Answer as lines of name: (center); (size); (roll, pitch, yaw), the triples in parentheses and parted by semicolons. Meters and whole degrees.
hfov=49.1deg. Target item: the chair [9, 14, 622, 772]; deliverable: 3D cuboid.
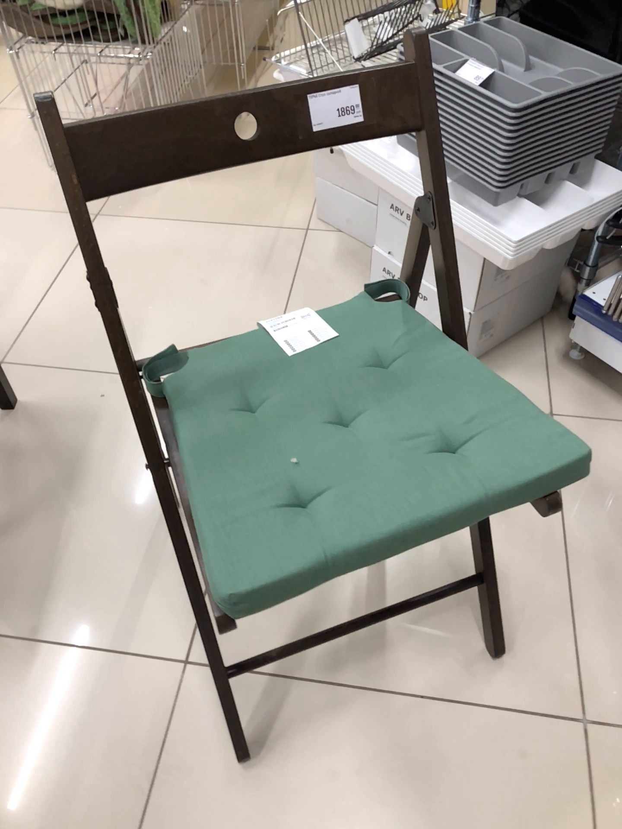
chair: (0.003, 0.004, 0.825); (0.441, 0.686, 0.483); (-17, 50, -13)
